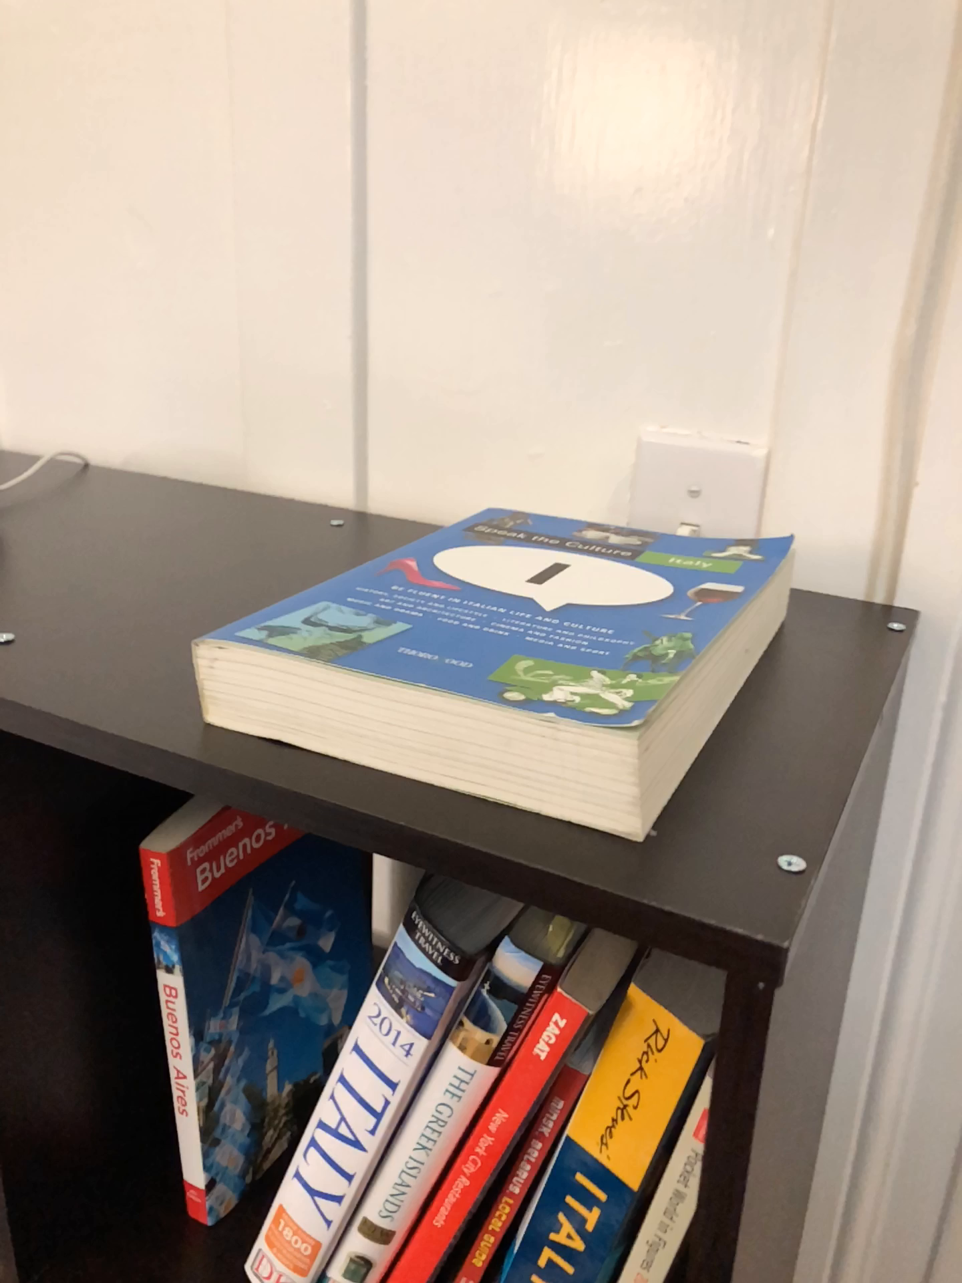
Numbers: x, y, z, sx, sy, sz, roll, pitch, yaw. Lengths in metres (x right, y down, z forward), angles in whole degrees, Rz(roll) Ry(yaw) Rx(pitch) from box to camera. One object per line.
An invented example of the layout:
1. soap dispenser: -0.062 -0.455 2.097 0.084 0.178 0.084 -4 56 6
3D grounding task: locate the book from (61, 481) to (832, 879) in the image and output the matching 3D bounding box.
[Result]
1. book: 0.013 -0.012 0.412 0.200 0.030 0.261 11 22 22
